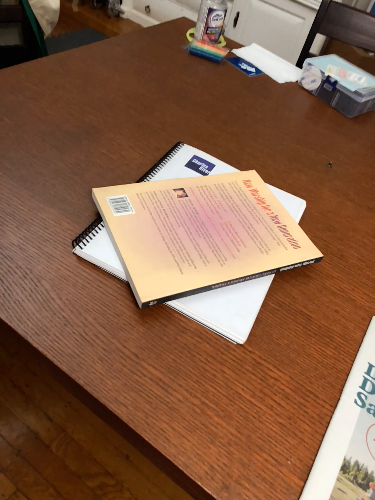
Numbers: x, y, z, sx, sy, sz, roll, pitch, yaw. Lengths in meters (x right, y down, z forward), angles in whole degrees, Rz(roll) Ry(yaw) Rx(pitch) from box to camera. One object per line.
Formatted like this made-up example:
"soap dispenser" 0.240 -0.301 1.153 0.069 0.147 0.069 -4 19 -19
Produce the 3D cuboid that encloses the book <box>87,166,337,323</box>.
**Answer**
"book" 0.029 -0.026 0.516 0.261 0.020 0.191 -12 52 -25

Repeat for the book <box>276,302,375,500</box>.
"book" 0.226 0.190 0.384 0.200 0.010 0.271 33 48 15

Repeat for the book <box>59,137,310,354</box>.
"book" 0.019 -0.035 0.545 0.230 0.020 0.292 27 47 9
